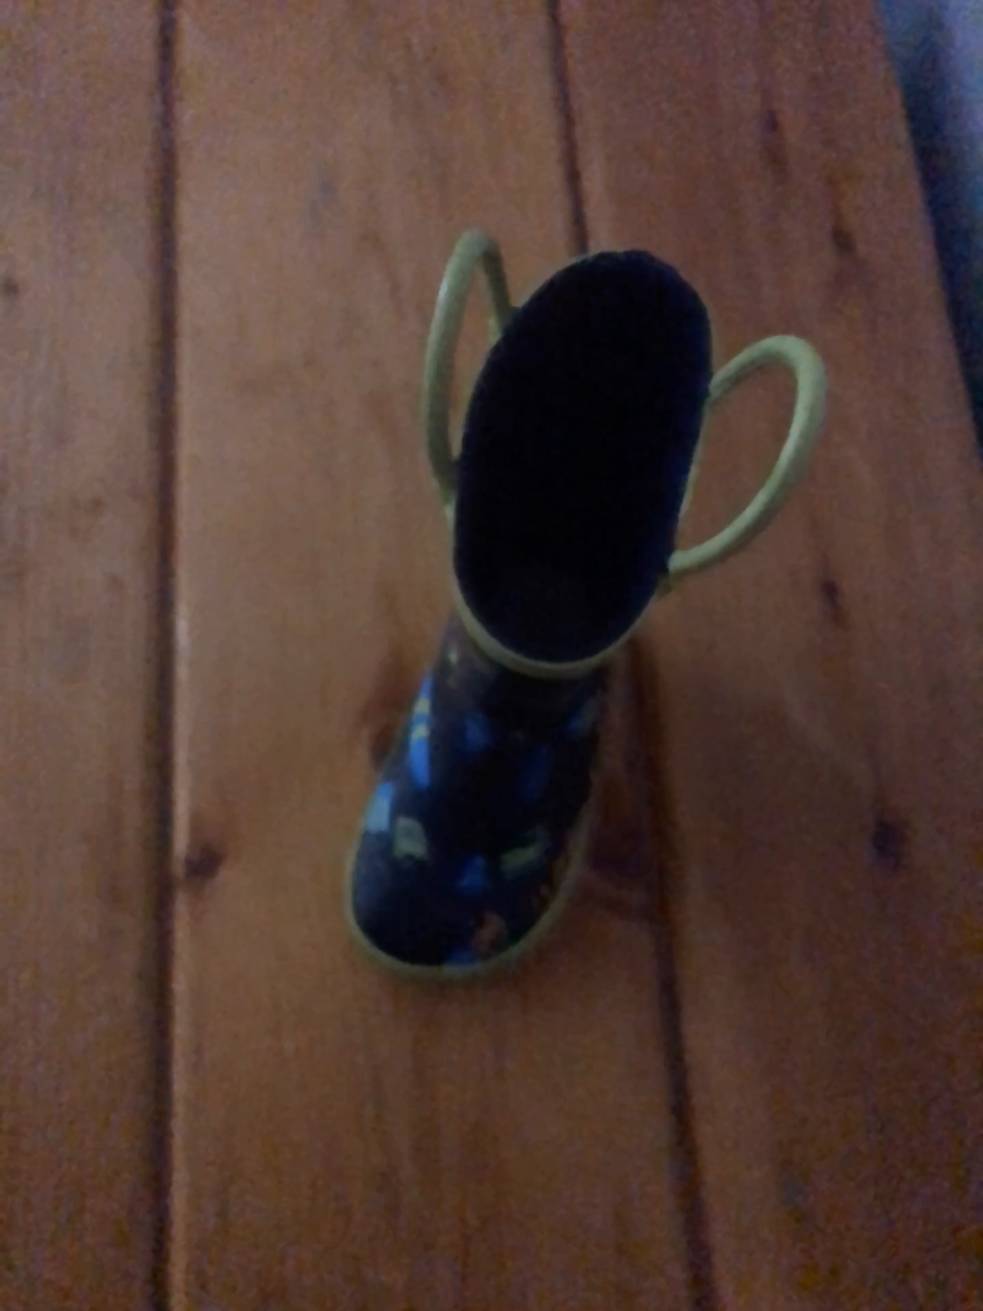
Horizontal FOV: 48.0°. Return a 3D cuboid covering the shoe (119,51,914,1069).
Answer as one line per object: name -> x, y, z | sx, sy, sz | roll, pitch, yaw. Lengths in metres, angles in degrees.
shoe -> 0.009, 0.000, 0.284 | 0.080, 0.200, 0.170 | 21, 73, 5
